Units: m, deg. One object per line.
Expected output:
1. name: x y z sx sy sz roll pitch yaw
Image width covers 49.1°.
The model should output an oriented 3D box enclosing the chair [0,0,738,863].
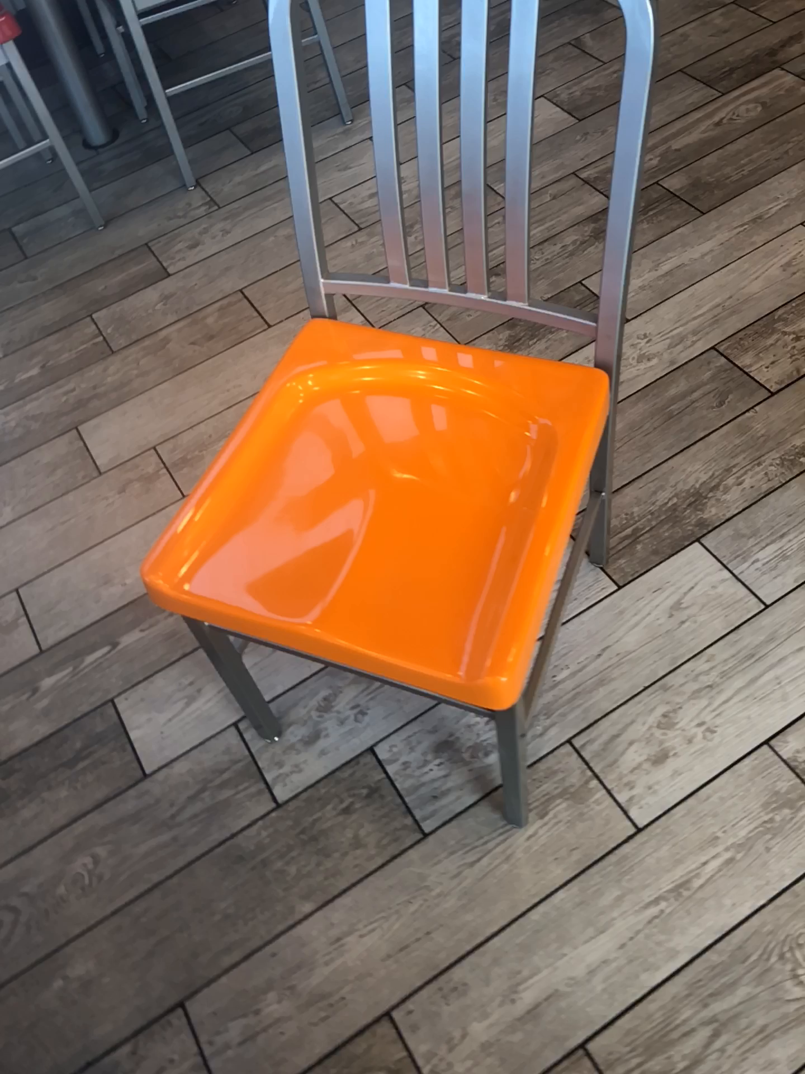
1. chair: -0.013 -0.098 0.924 0.470 0.818 0.511 15 59 19
